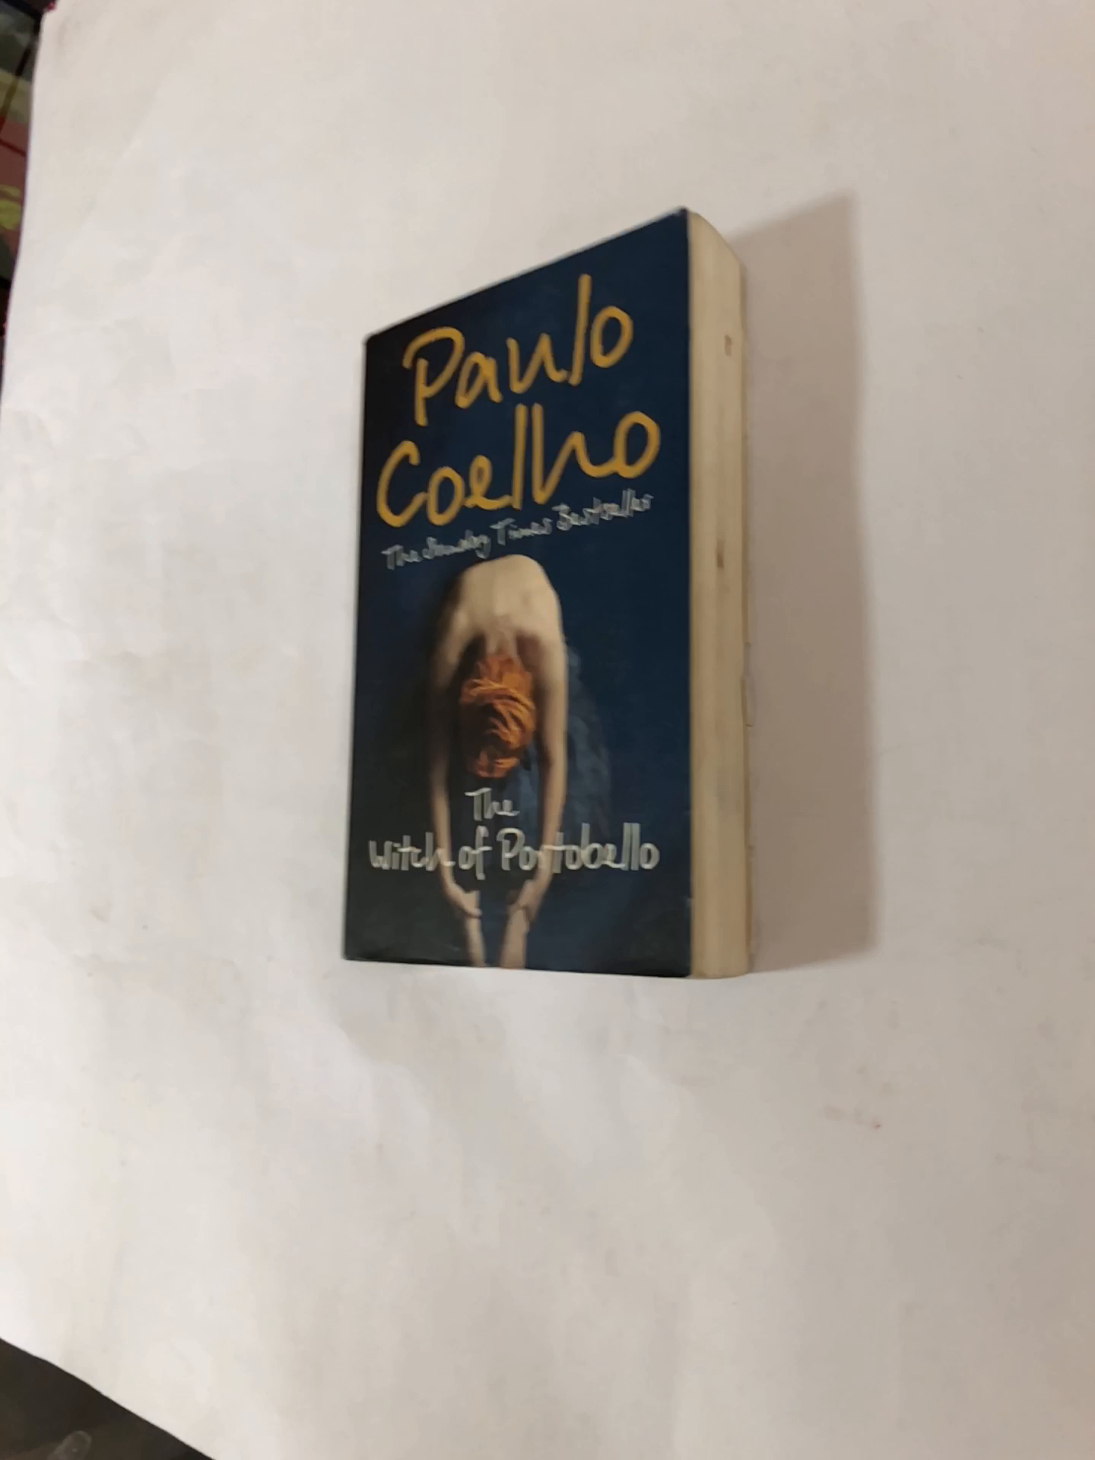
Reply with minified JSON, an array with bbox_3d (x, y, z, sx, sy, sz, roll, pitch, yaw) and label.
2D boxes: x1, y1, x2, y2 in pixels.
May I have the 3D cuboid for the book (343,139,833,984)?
[{"bbox_3d":[0.005,-0.032,0.301,0.121,0.030,0.180,-6,79,37],"label":"book"}]
